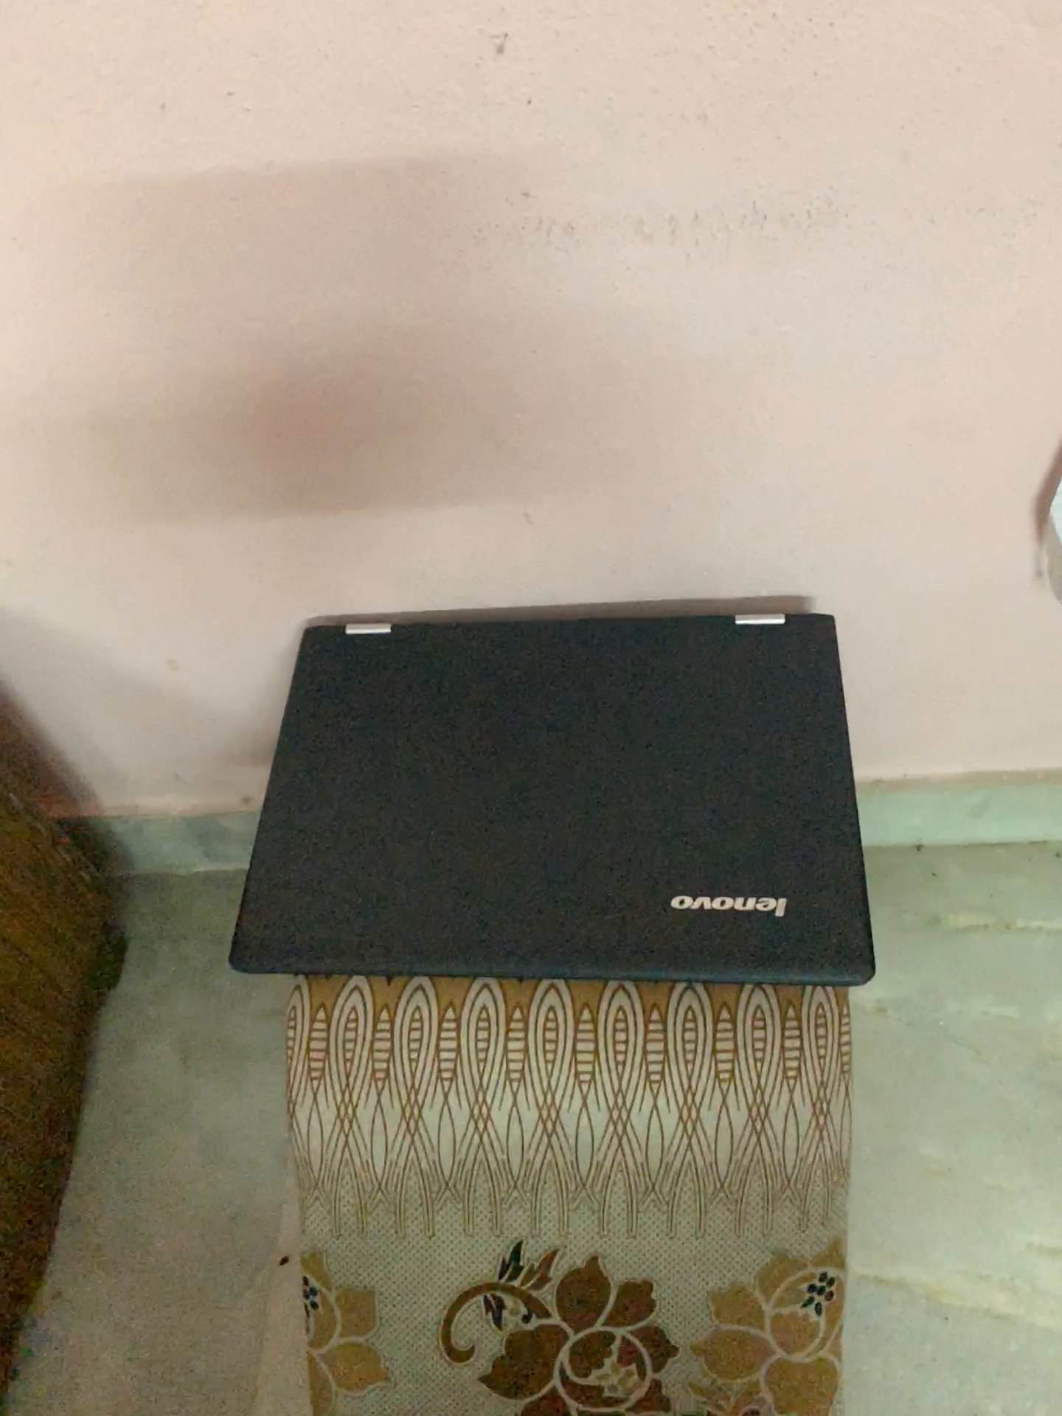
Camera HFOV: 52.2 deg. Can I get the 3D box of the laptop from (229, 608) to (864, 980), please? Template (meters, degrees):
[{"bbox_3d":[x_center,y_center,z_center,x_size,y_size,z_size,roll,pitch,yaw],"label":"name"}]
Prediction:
[{"bbox_3d":[0.010,0.040,0.591,0.312,0.012,0.214,-1,58,8],"label":"laptop"}]
